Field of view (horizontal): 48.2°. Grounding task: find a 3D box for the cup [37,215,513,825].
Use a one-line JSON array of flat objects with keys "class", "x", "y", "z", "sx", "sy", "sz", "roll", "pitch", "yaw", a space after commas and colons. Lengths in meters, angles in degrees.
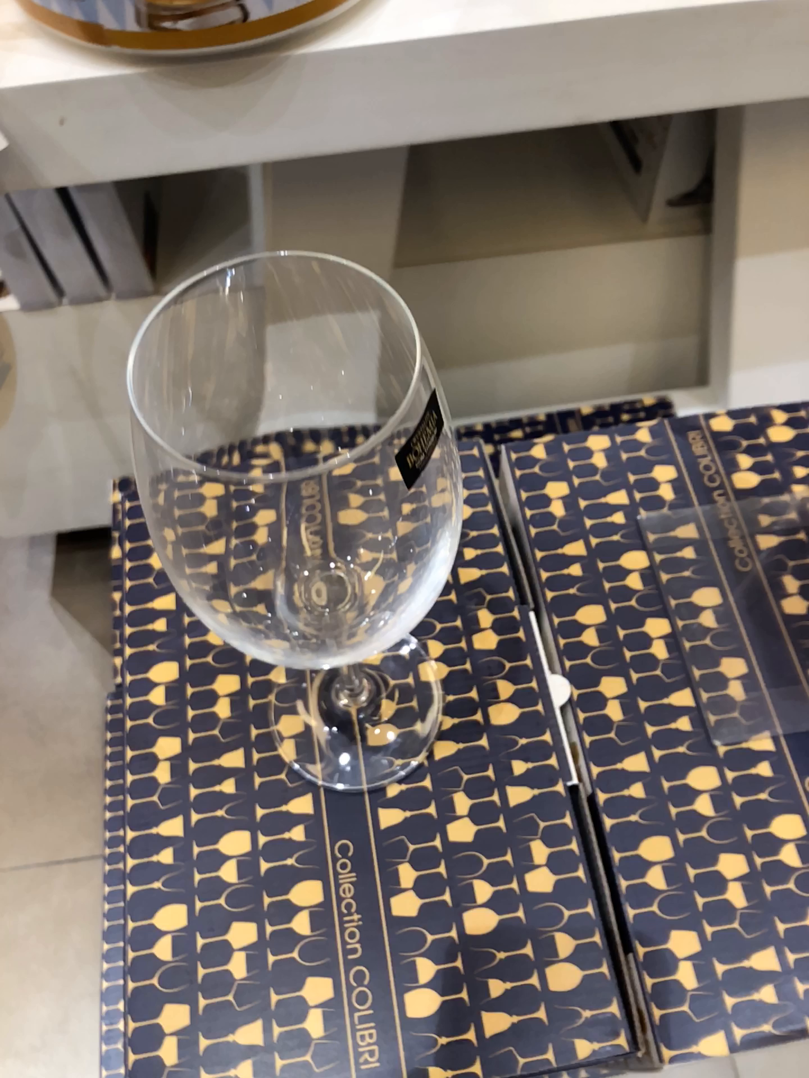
[{"class": "cup", "x": -0.023, "y": 0.017, "z": 0.284, "sx": 0.090, "sy": 0.209, "sz": 0.090, "roll": -1, "pitch": 60, "yaw": 2}]
